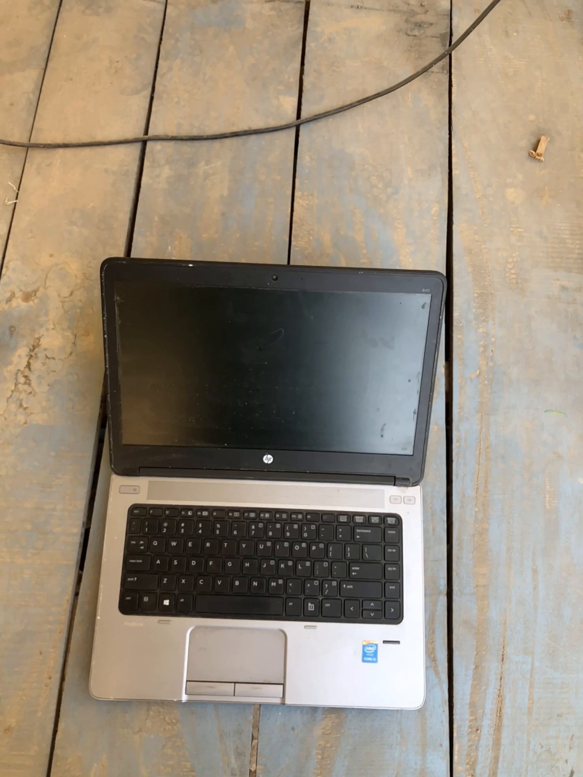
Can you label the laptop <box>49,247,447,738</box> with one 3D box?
[{"bbox_3d":[-0.026,0.087,0.596,0.306,0.123,0.389,3,77,1],"label":"laptop"}]
